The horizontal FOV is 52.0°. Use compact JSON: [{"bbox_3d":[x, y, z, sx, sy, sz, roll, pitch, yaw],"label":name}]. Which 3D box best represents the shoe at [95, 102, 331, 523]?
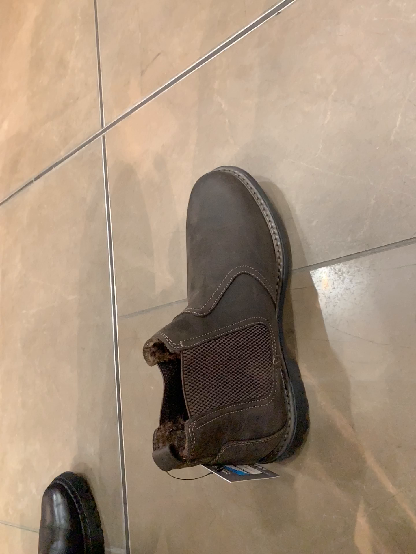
[{"bbox_3d":[0.003,0.030,0.402,0.114,0.165,0.304,-16,73,38],"label":"shoe"}]
